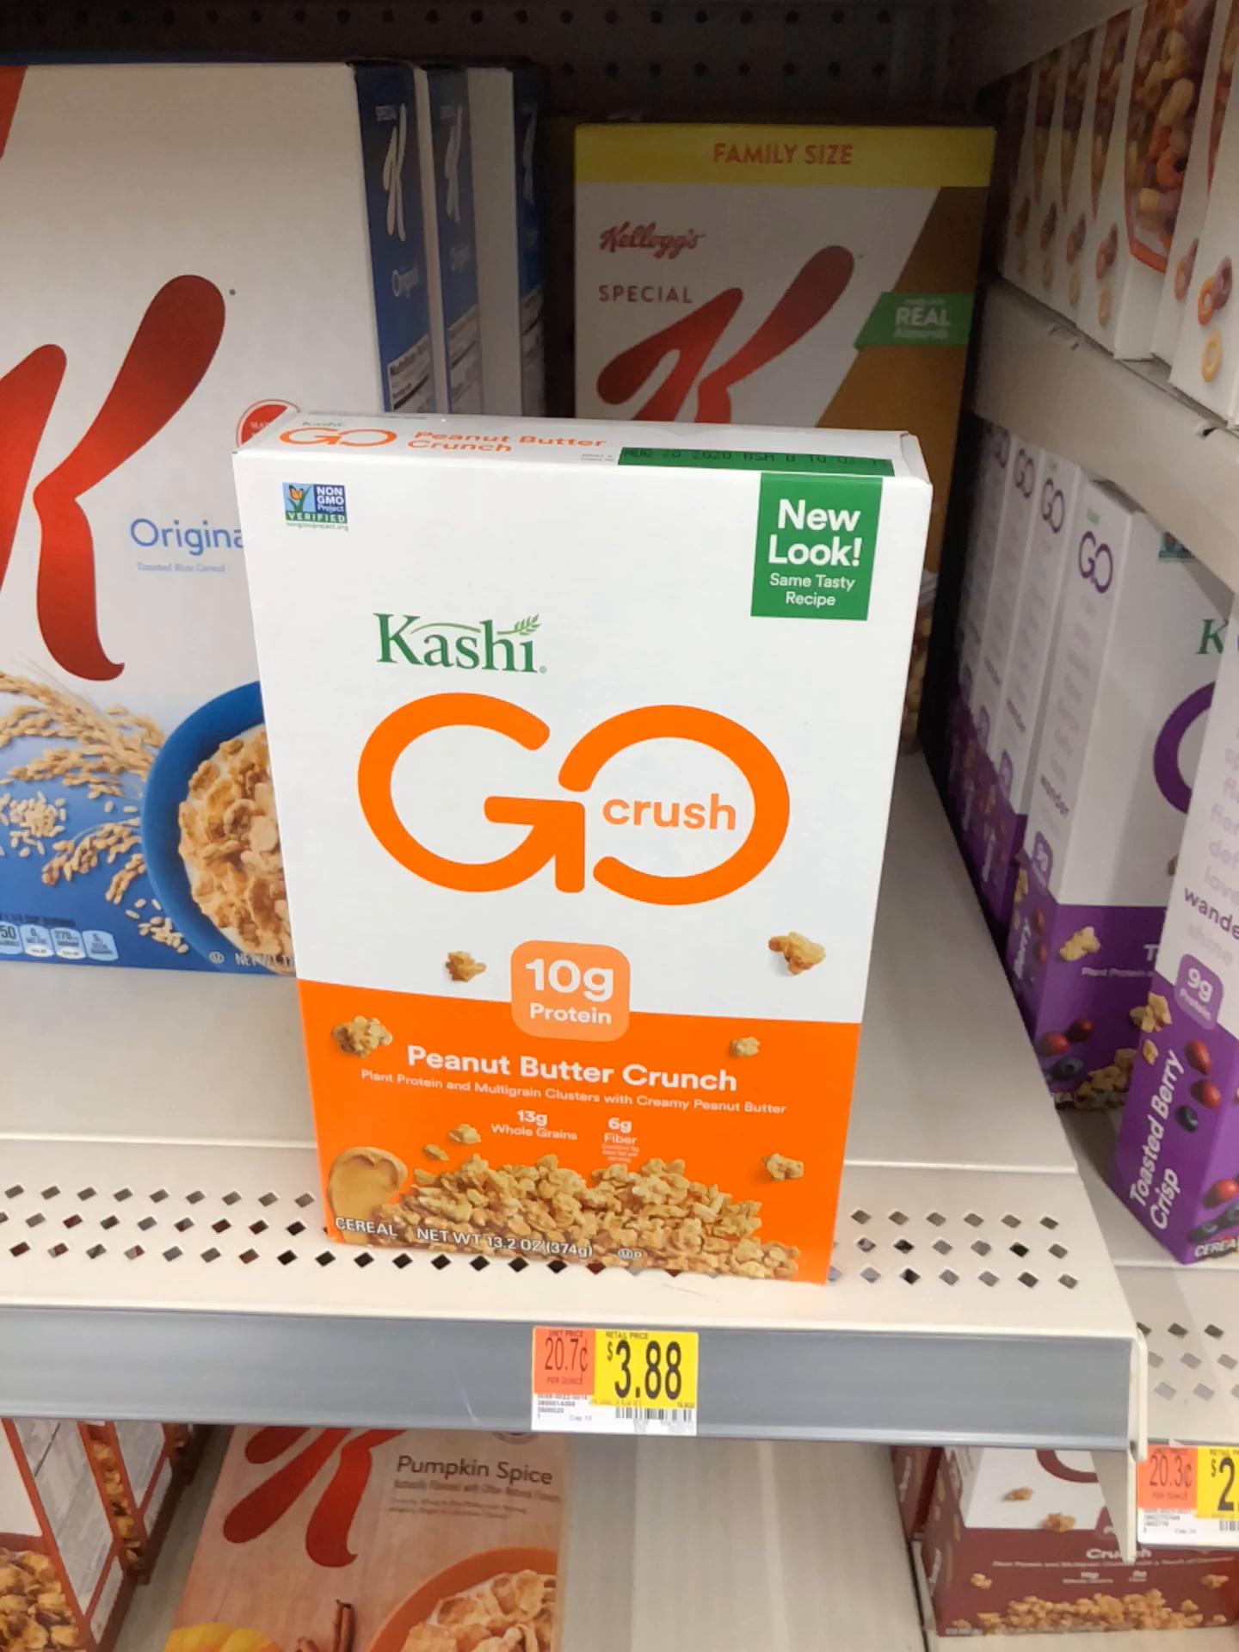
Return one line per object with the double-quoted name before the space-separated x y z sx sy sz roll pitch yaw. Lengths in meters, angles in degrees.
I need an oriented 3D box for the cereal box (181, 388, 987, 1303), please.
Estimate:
"cereal box" -0.007 0.017 0.372 0.170 0.249 0.050 3 31 5
